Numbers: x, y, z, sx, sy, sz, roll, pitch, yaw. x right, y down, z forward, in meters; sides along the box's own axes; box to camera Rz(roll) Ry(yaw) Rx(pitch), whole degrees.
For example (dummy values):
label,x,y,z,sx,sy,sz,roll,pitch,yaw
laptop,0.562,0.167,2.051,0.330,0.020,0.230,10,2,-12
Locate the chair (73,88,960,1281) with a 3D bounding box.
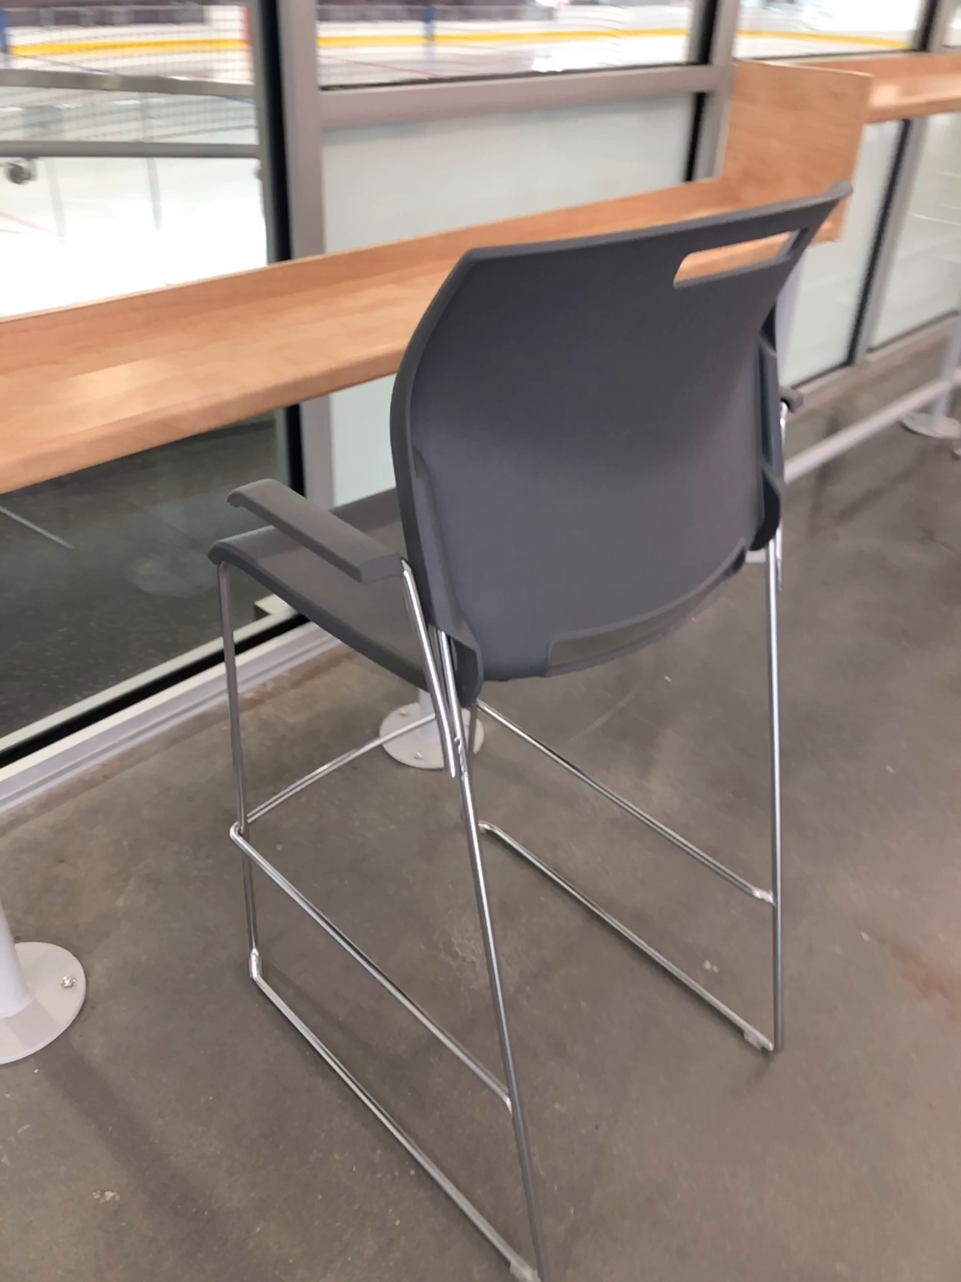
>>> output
label,x,y,z,sx,sy,sz,roll,pitch,yaw
chair,0.067,0.023,1.193,0.662,1.073,0.602,30,41,35
